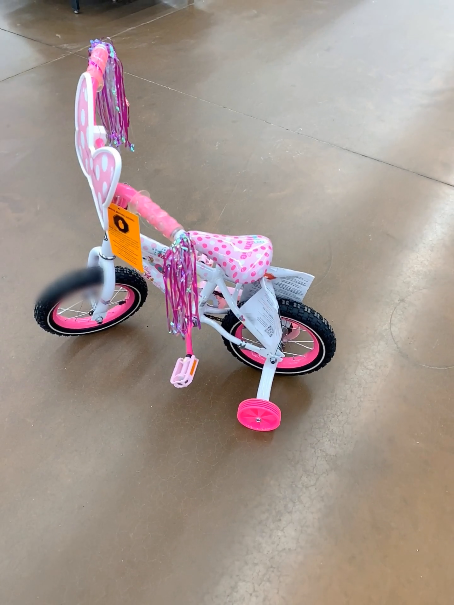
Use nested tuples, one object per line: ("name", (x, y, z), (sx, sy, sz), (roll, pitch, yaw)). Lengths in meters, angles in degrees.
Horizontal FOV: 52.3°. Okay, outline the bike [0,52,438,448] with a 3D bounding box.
("bike", (-0.088, -0.106, 1.041), (0.724, 0.648, 0.503), (6, 48, 4))
